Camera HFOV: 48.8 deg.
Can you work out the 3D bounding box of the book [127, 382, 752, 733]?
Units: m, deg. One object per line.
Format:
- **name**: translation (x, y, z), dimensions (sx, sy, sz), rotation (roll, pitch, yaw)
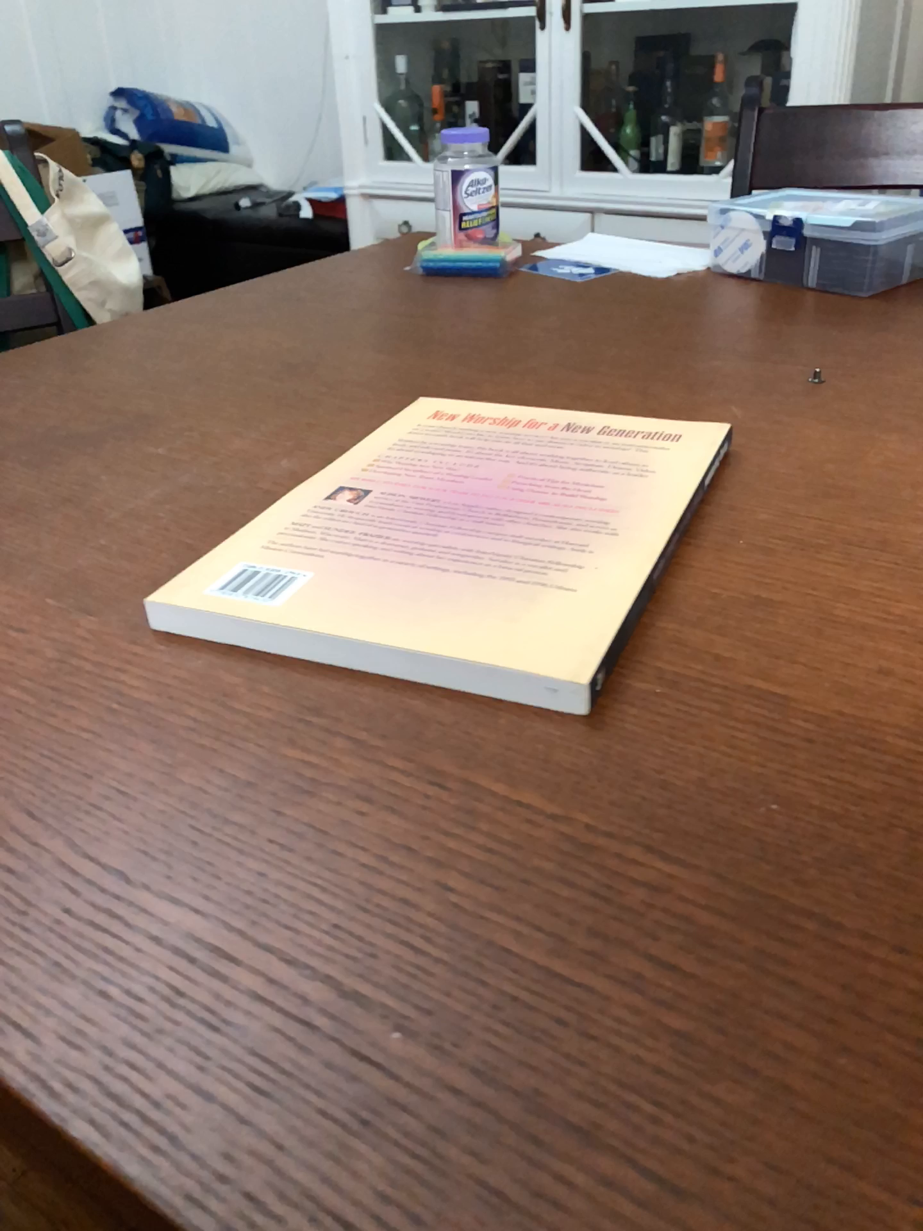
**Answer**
- **book**: translation (0.013, -0.050, 0.465), dimensions (0.190, 0.020, 0.271), rotation (9, 32, 21)
